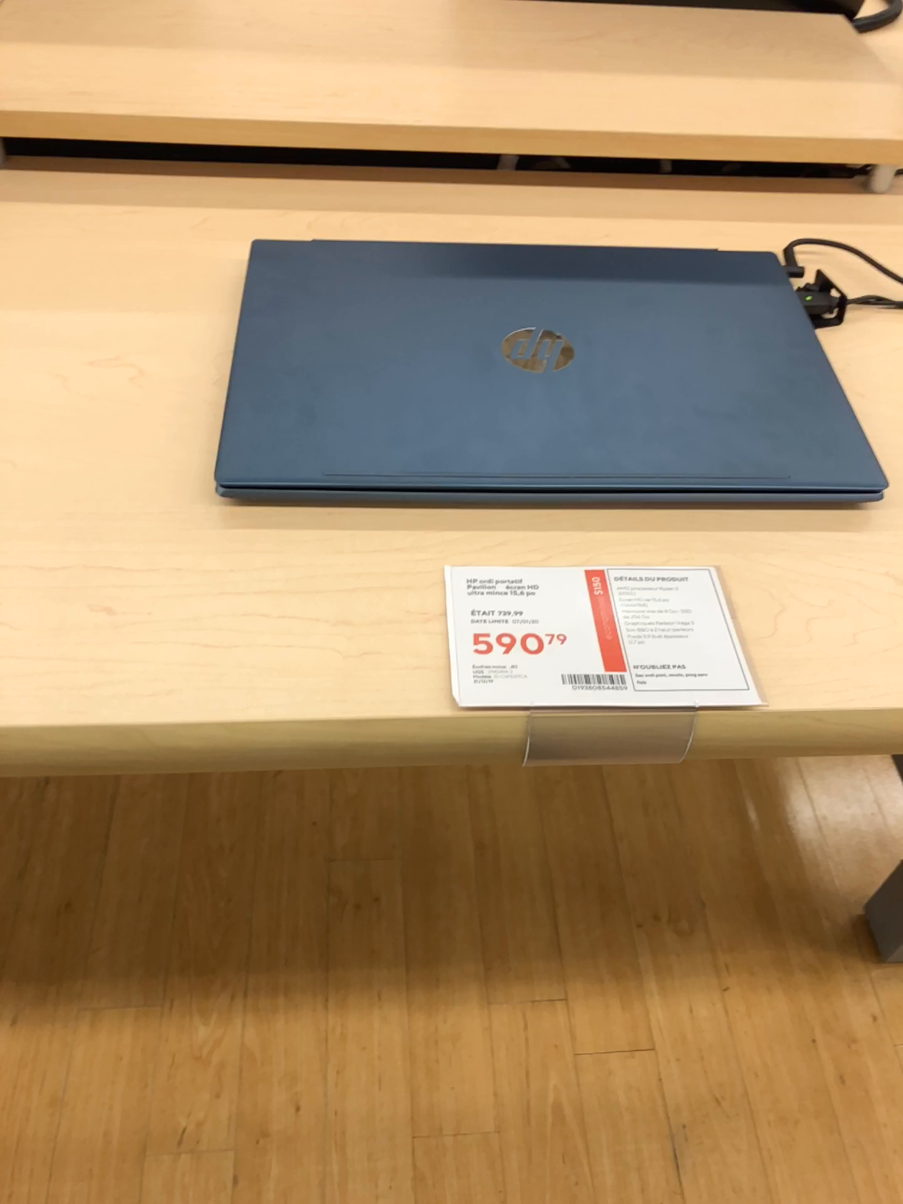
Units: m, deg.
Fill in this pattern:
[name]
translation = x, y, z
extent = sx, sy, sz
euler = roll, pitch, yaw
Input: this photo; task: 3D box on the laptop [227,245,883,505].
[laptop]
translation = 0.051, -0.145, 0.602
extent = 0.352, 0.012, 0.221
euler = 0, 52, -3
